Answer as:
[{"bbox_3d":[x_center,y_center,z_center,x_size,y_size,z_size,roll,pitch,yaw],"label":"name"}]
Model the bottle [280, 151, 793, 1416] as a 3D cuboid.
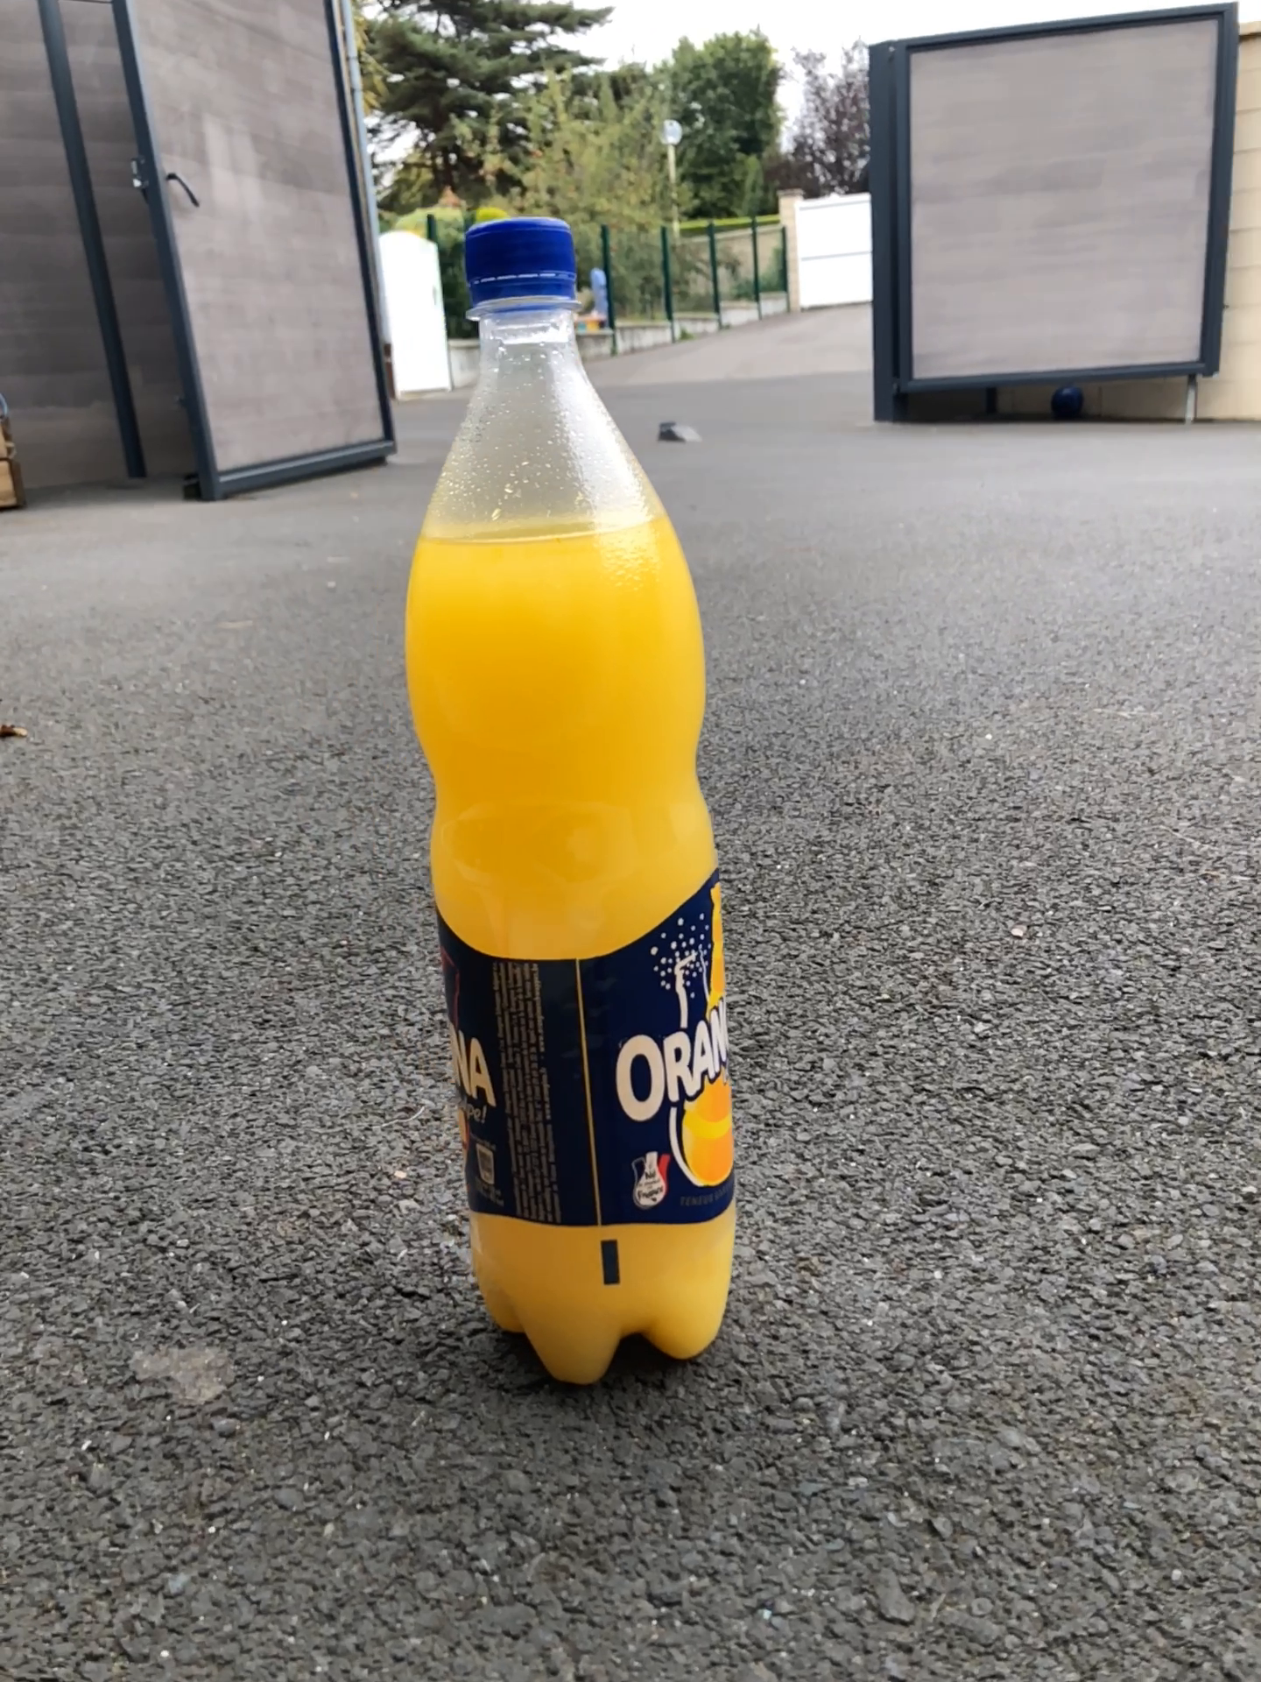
[{"bbox_3d":[-0.012,-0.005,0.409,0.100,0.339,0.100,-4,18,1],"label":"bottle"}]
